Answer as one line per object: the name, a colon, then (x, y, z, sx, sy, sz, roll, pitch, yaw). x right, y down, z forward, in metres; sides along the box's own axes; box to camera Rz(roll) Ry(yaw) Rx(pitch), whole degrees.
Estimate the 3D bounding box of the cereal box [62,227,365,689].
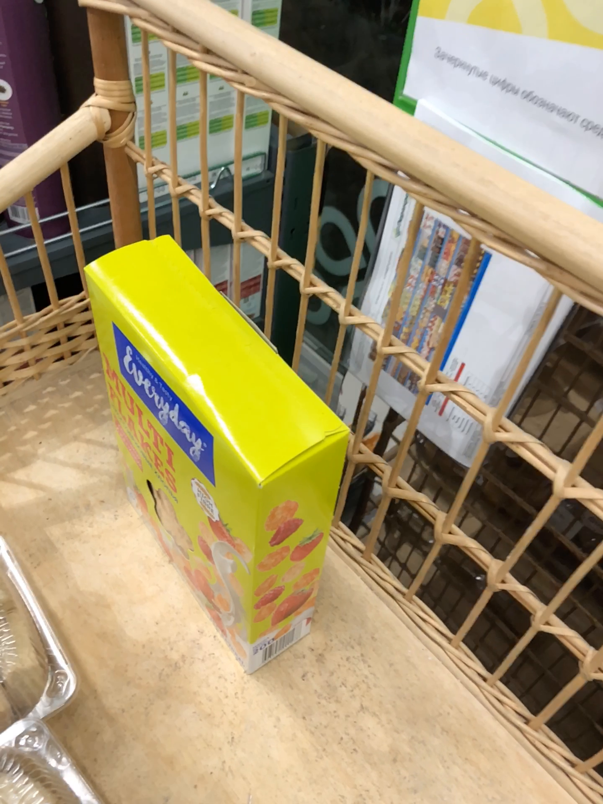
cereal box: (-0.059, 0.045, 0.409, 0.060, 0.229, 0.181, -27, 57, -26)
